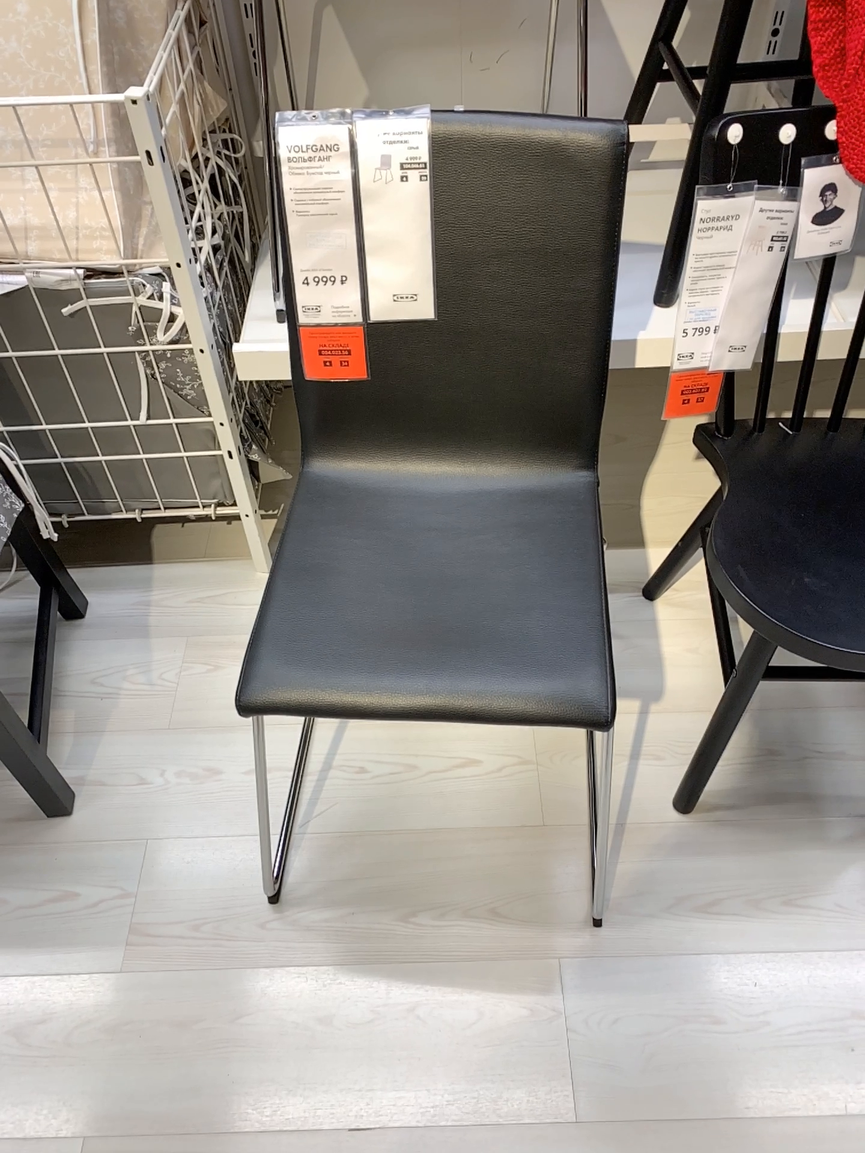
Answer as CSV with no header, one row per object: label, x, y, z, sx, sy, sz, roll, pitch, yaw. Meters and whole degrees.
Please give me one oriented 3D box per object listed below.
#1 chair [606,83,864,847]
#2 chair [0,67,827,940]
chair,0.557,-0.105,1.176,0.471,0.799,0.601,-2,48,1
chair,0.006,-0.034,1.080,0.531,0.869,0.611,1,48,3
